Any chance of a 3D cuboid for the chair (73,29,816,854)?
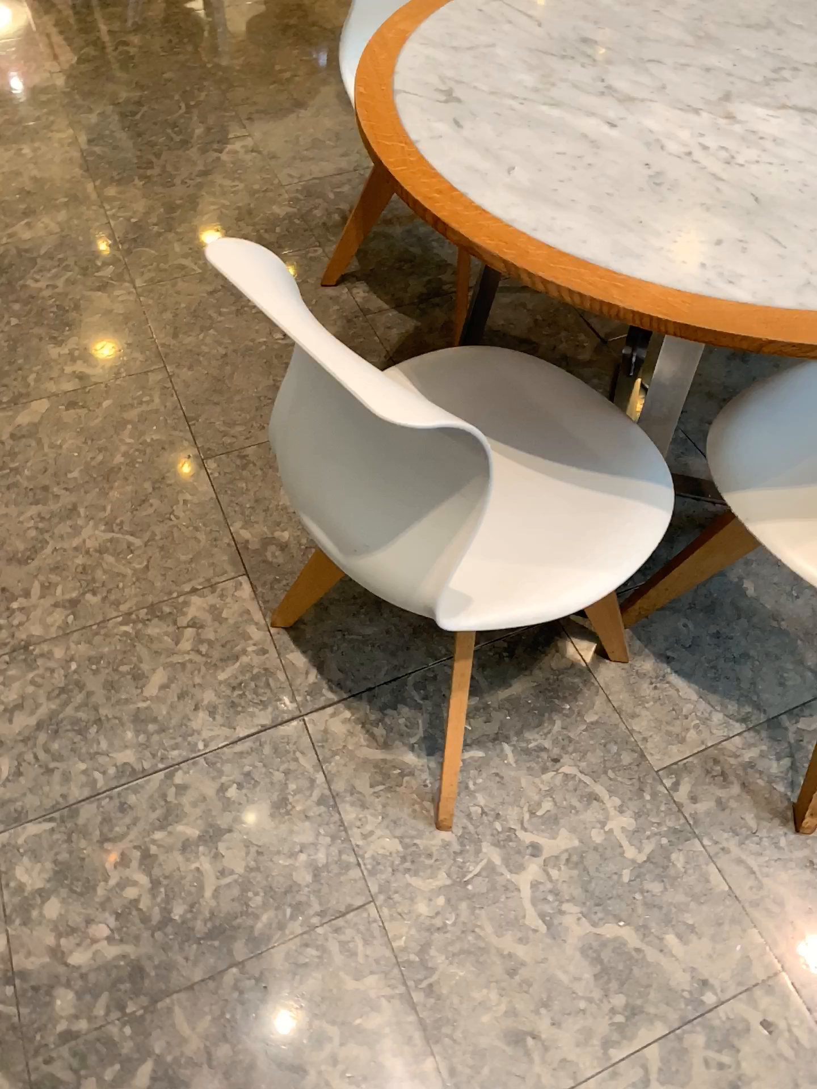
[{"bbox_3d":[0.027,-0.076,1.176,0.542,0.912,0.502,-33,60,-23],"label":"chair"}]
